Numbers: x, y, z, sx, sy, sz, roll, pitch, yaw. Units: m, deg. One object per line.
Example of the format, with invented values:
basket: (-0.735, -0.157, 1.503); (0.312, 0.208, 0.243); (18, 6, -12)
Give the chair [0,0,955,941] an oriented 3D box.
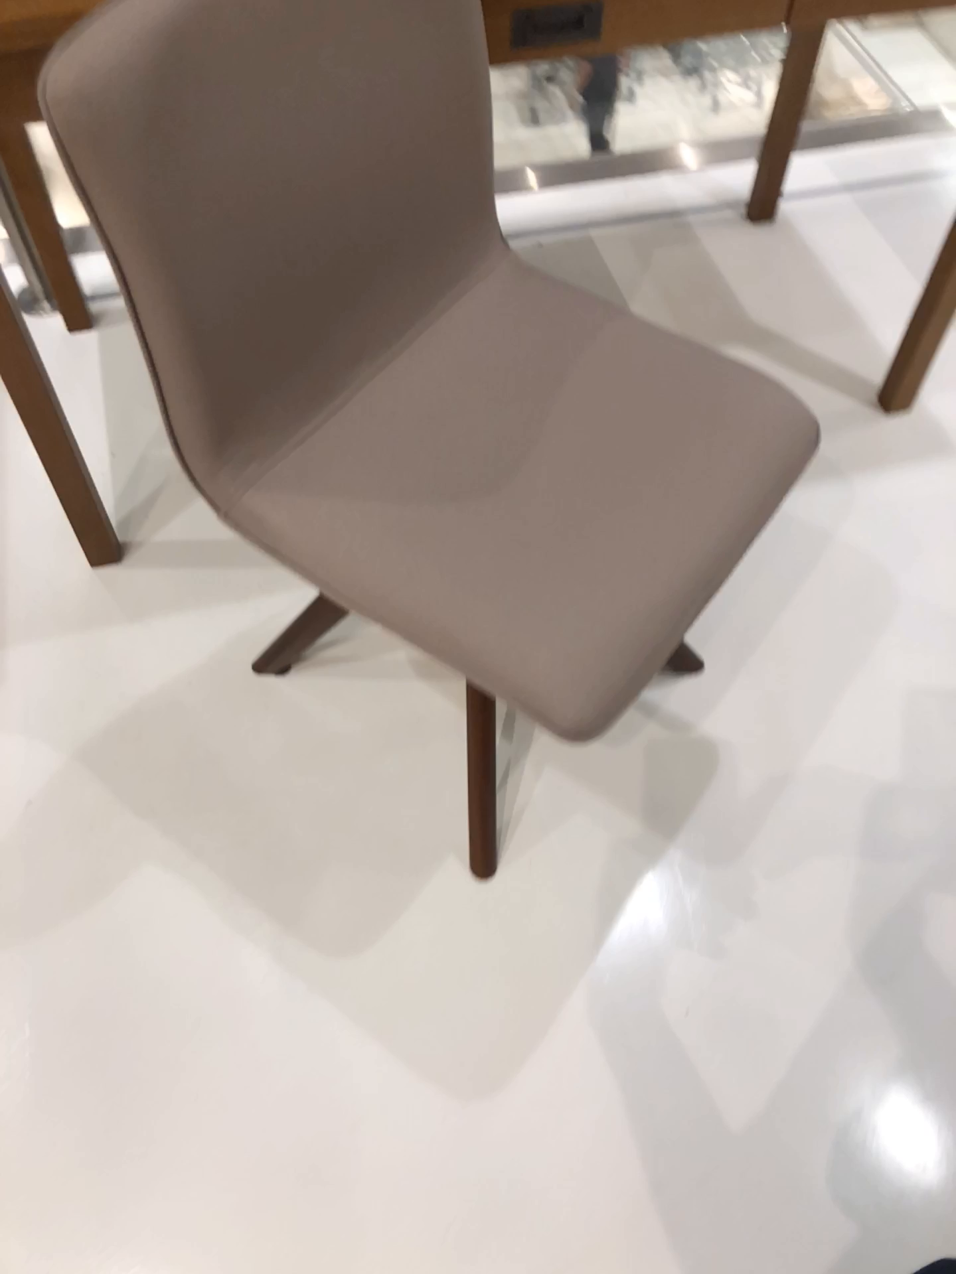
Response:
chair: (0.017, -0.204, 1.048); (0.531, 0.835, 0.542); (29, 60, 18)
